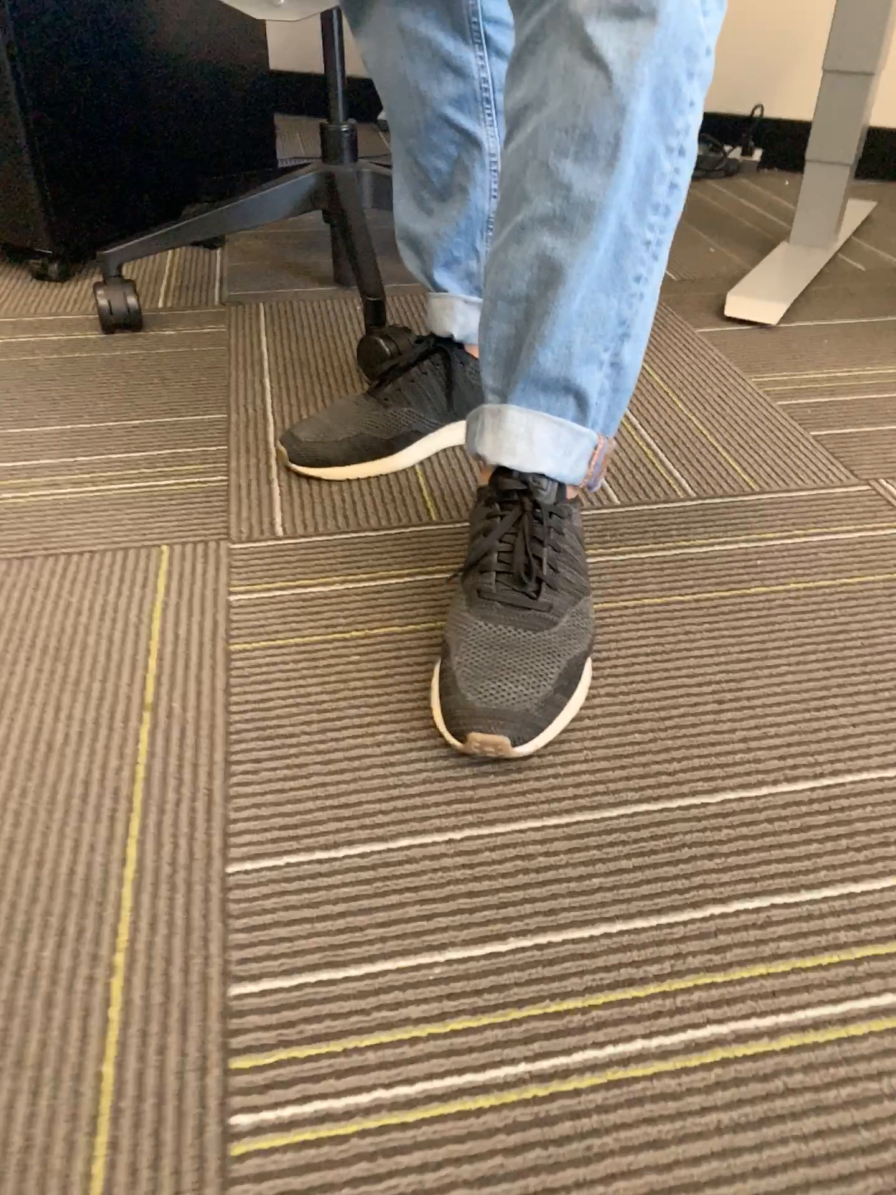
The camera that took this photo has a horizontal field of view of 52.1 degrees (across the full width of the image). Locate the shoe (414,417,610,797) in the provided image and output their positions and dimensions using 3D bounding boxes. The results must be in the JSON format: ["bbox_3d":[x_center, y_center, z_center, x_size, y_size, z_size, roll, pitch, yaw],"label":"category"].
[{"bbox_3d":[0.057,-0.013,0.678,0.112,0.106,0.307,5,38,6],"label":"shoe"}]

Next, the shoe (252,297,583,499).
[{"bbox_3d":[-0.027,-0.208,0.925,0.306,0.106,0.111,-19,41,-23],"label":"shoe"}]
